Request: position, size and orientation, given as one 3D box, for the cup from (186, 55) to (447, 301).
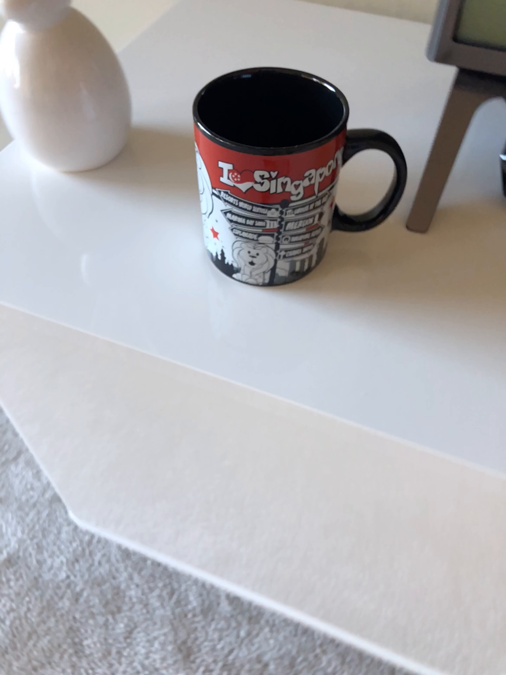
[{"bbox_3d":[0.029,-0.089,0.329,0.120,0.110,0.080,0,51,0],"label":"cup"}]
